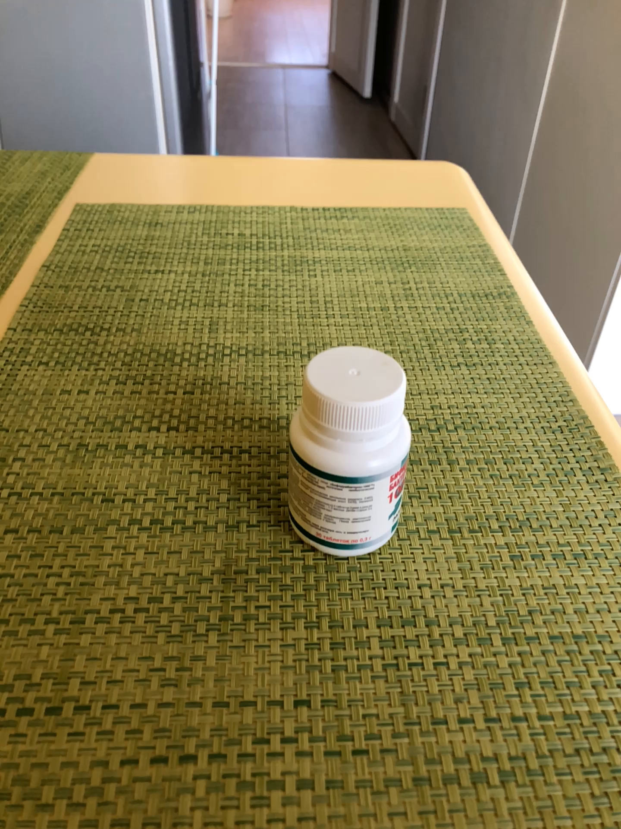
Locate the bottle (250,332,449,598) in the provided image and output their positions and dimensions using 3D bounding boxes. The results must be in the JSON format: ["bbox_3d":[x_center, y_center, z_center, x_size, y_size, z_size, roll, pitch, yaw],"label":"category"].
[{"bbox_3d":[0.013,0.018,0.255,0.050,0.069,0.050,2,37,-1],"label":"bottle"}]
